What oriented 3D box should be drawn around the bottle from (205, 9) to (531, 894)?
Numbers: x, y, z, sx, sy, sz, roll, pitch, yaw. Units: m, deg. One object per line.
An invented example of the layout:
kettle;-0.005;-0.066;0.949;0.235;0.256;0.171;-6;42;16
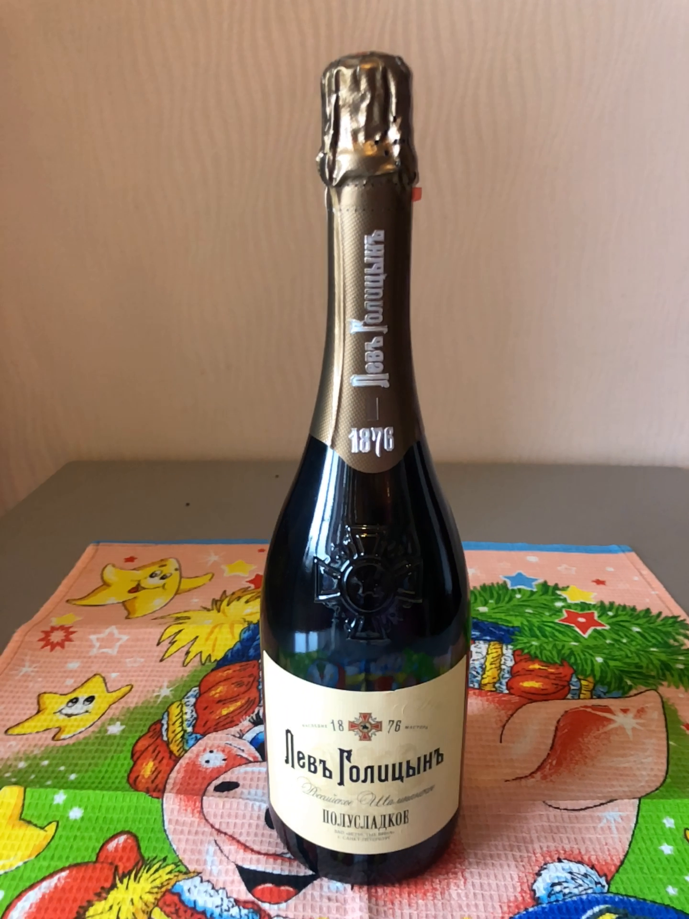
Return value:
bottle;0.010;0.009;0.301;0.090;0.309;0.093;0;18;0
